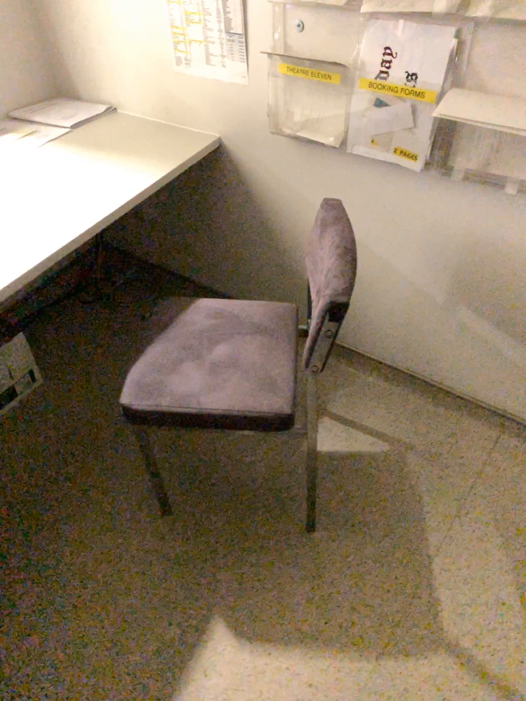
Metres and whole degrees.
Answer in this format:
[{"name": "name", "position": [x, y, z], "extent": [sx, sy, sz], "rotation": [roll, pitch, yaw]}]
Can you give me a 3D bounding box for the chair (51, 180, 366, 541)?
[{"name": "chair", "position": [-0.060, 0.024, 1.328], "extent": [0.540, 0.693, 0.545], "rotation": [1, 40, 6]}]
